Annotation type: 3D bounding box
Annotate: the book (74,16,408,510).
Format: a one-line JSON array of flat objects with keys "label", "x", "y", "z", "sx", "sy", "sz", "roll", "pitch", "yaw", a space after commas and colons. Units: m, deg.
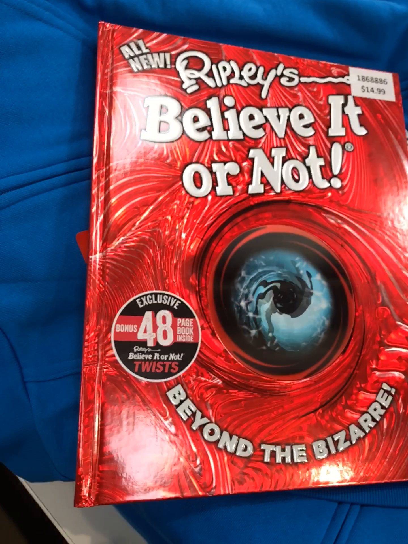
[{"label": "book", "x": 0.046, "y": -0.015, "z": 0.315, "sx": 0.244, "sy": 0.028, "sz": 0.303, "roll": 3, "pitch": 77, "yaw": -14}]
